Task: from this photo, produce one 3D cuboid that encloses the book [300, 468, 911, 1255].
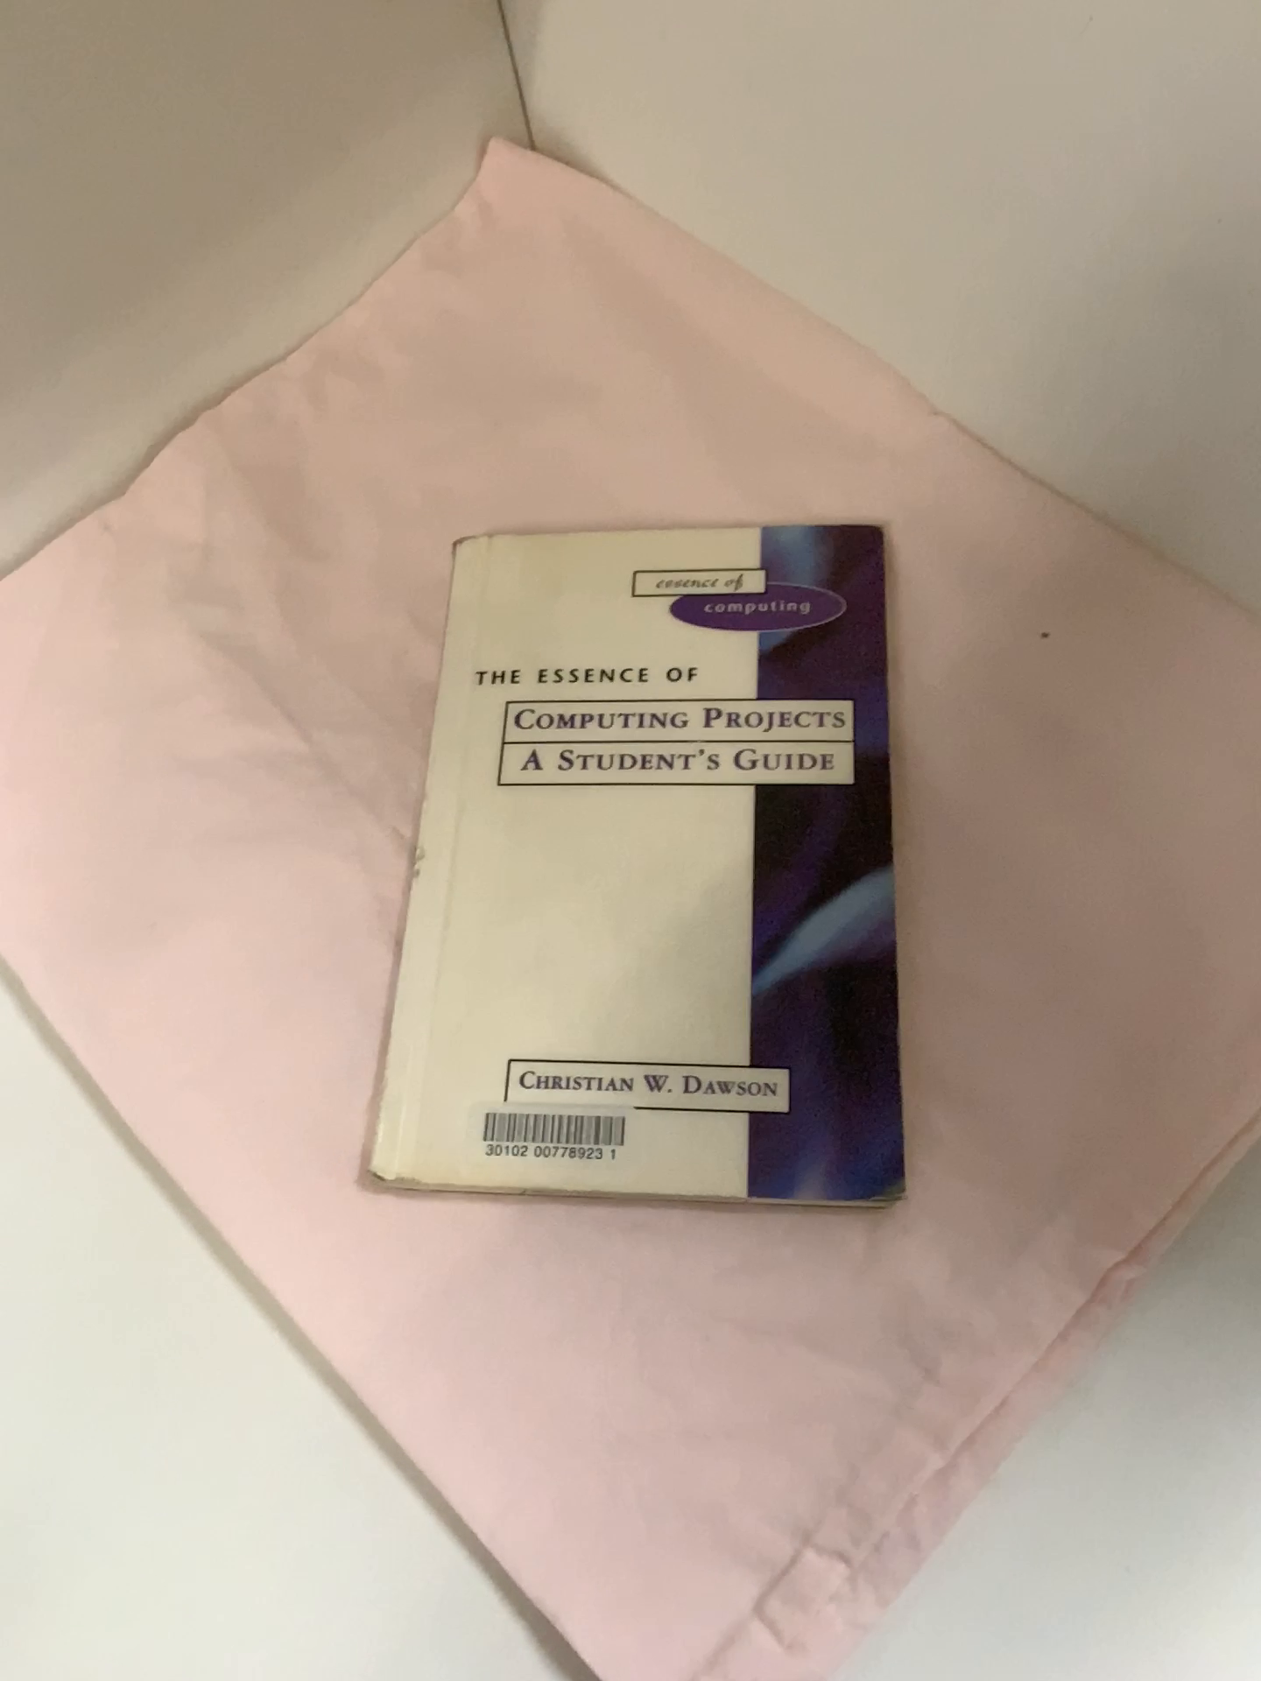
[{"bbox_3d":[-0.002,-0.006,0.418,0.170,0.020,0.261,-1,65,9],"label":"book"}]
